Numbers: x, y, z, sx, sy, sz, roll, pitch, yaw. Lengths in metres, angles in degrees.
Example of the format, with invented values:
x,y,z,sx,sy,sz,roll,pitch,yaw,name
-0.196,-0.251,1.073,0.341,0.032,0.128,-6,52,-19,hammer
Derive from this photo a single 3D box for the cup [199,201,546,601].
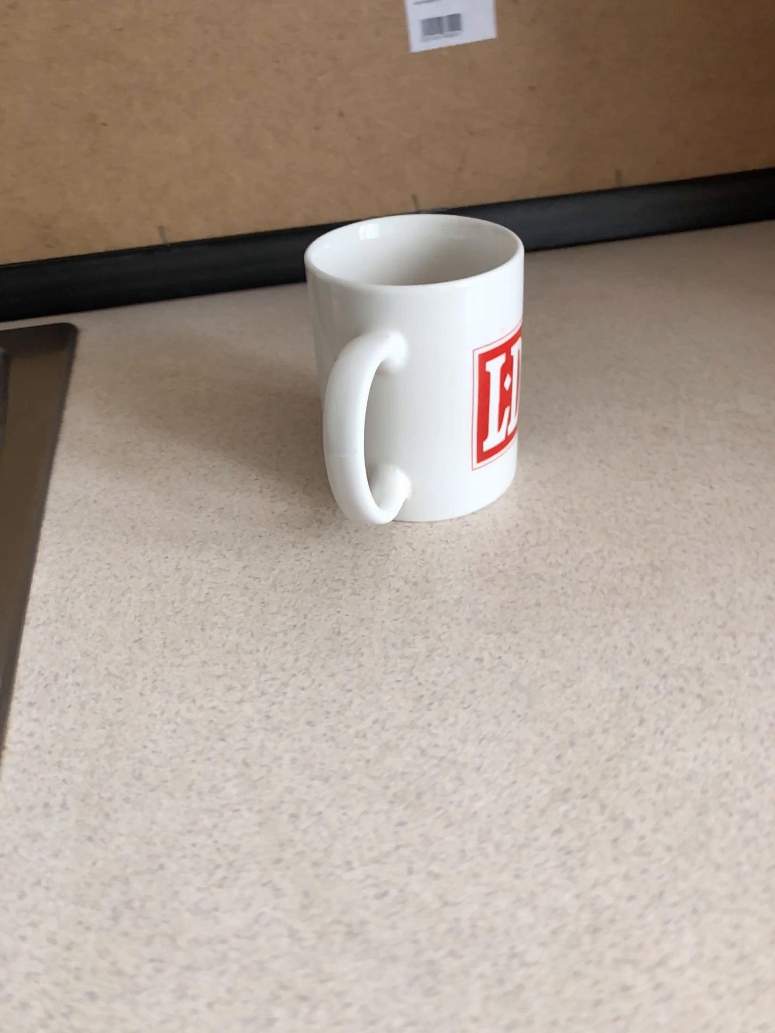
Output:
x,y,z,sx,sy,sz,roll,pitch,yaw,name
0.004,-0.051,0.328,0.084,0.099,0.121,9,37,18,cup
